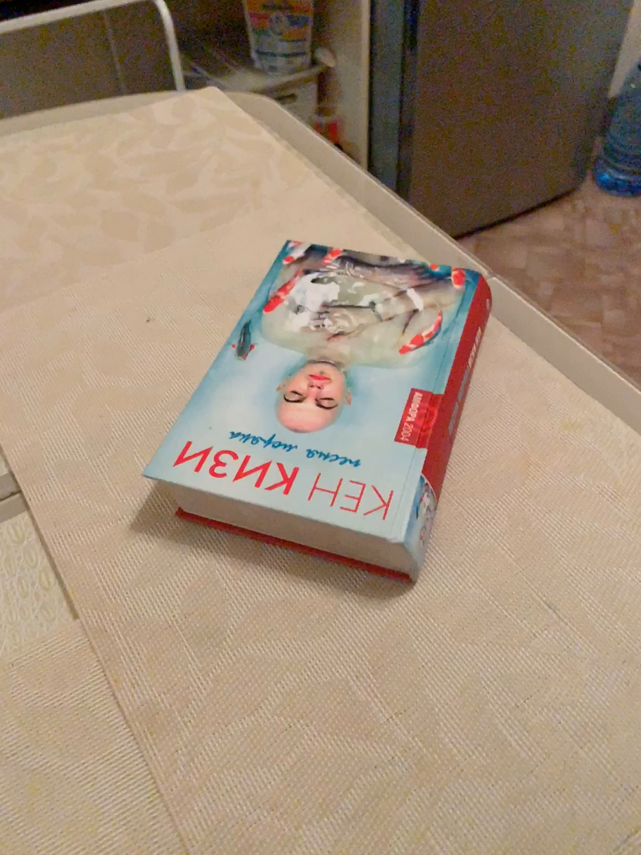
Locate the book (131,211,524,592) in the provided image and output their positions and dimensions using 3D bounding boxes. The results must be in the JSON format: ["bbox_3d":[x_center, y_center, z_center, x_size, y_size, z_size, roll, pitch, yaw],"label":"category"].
[{"bbox_3d":[0.018,-0.033,0.364,0.150,0.040,0.211,13,52,13],"label":"book"}]
